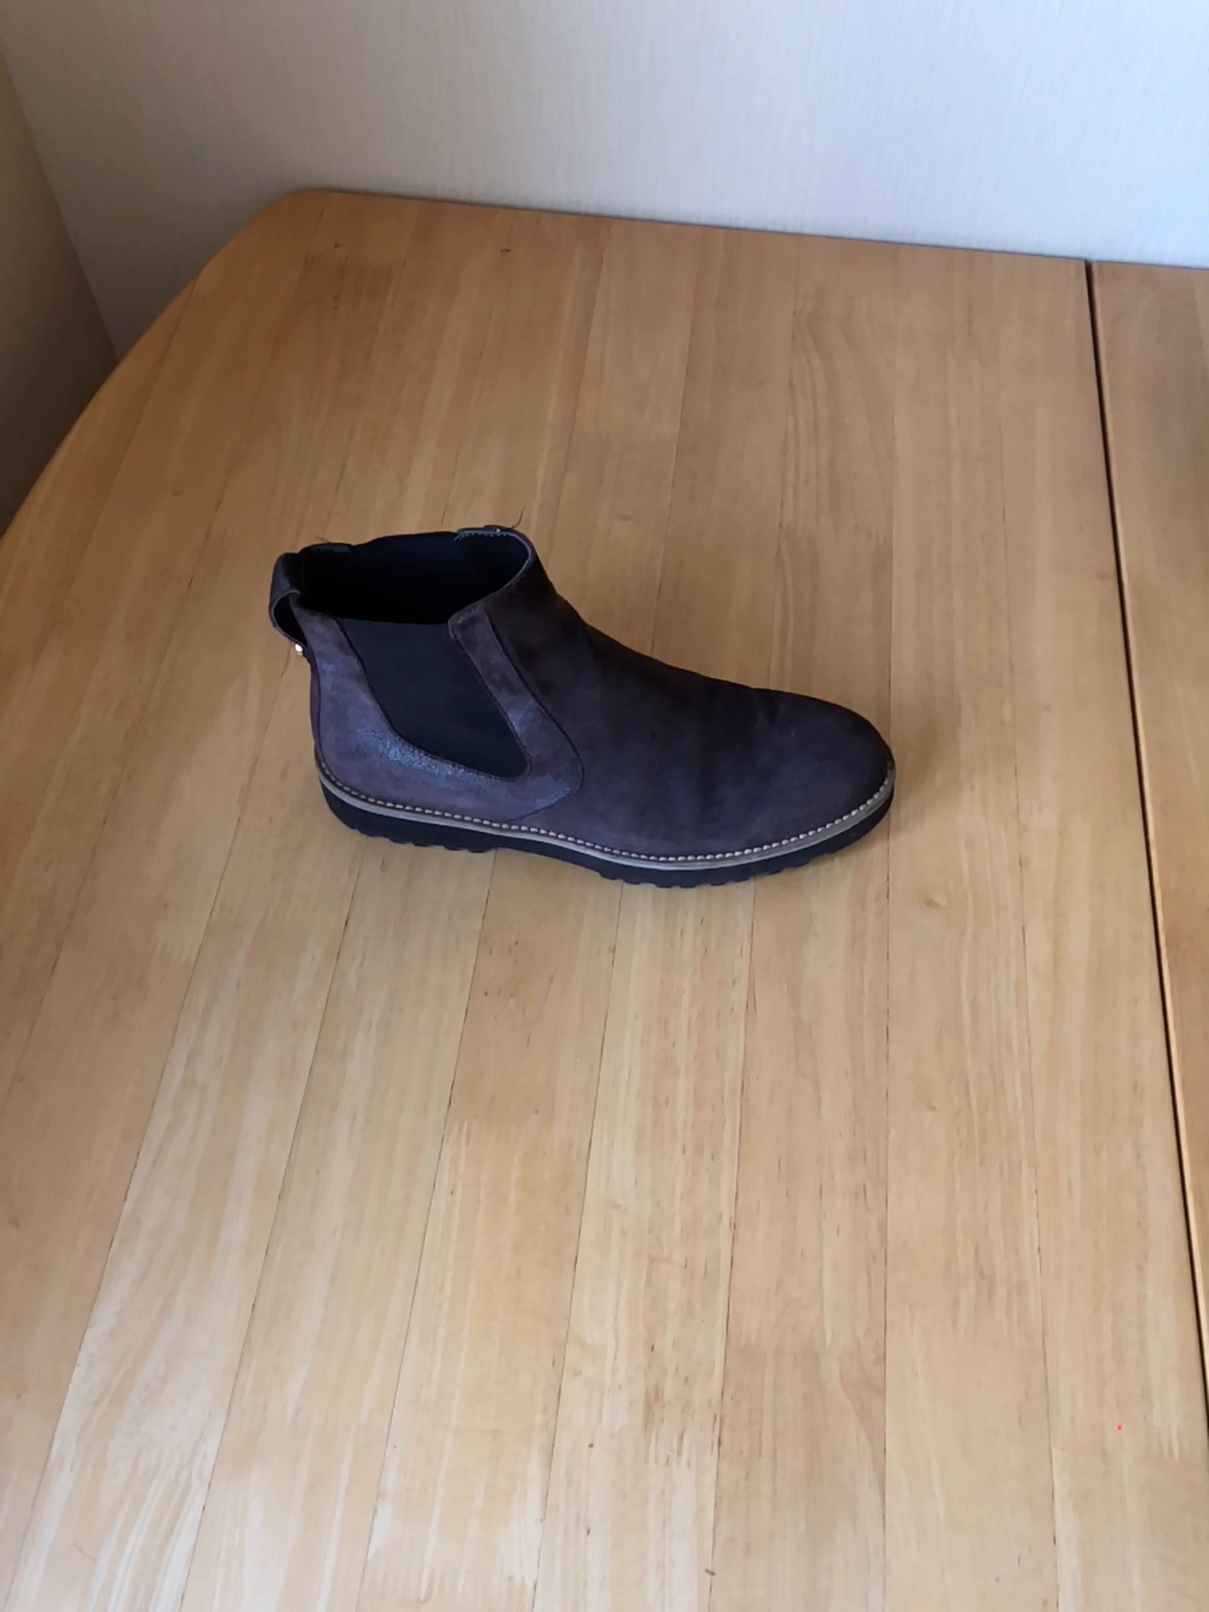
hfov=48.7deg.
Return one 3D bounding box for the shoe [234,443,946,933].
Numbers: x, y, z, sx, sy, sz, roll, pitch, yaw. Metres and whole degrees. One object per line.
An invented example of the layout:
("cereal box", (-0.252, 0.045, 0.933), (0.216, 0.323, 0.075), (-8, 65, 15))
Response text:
("shoe", (-0.001, -0.040, 0.488), (0.220, 0.120, 0.100), (8, 59, 4))
